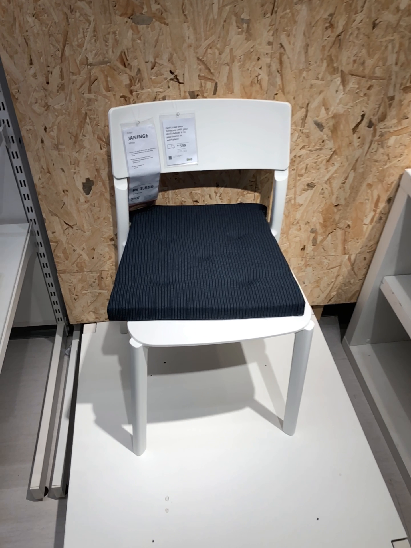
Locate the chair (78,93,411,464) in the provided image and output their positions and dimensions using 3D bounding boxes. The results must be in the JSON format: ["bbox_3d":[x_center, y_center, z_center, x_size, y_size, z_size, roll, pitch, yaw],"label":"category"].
[{"bbox_3d":[0.026,0.023,1.036,0.490,0.685,0.463,-4,43,-8],"label":"chair"}]
